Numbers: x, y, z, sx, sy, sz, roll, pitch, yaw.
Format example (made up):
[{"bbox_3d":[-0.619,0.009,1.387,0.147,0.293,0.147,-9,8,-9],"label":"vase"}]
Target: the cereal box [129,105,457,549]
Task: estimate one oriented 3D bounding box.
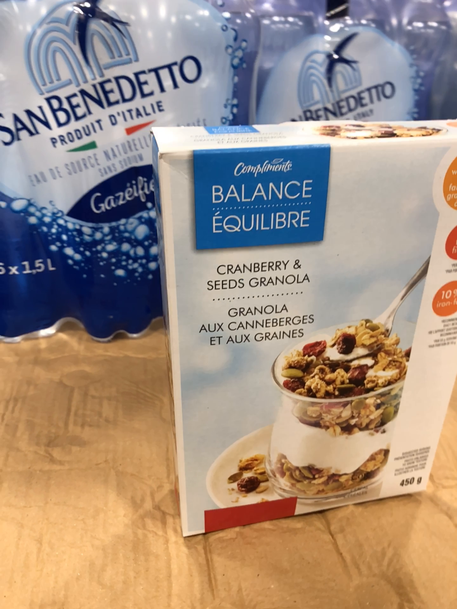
[{"bbox_3d":[0.050,0.020,0.279,0.180,0.229,0.050,-6,29,-10],"label":"cereal box"}]
